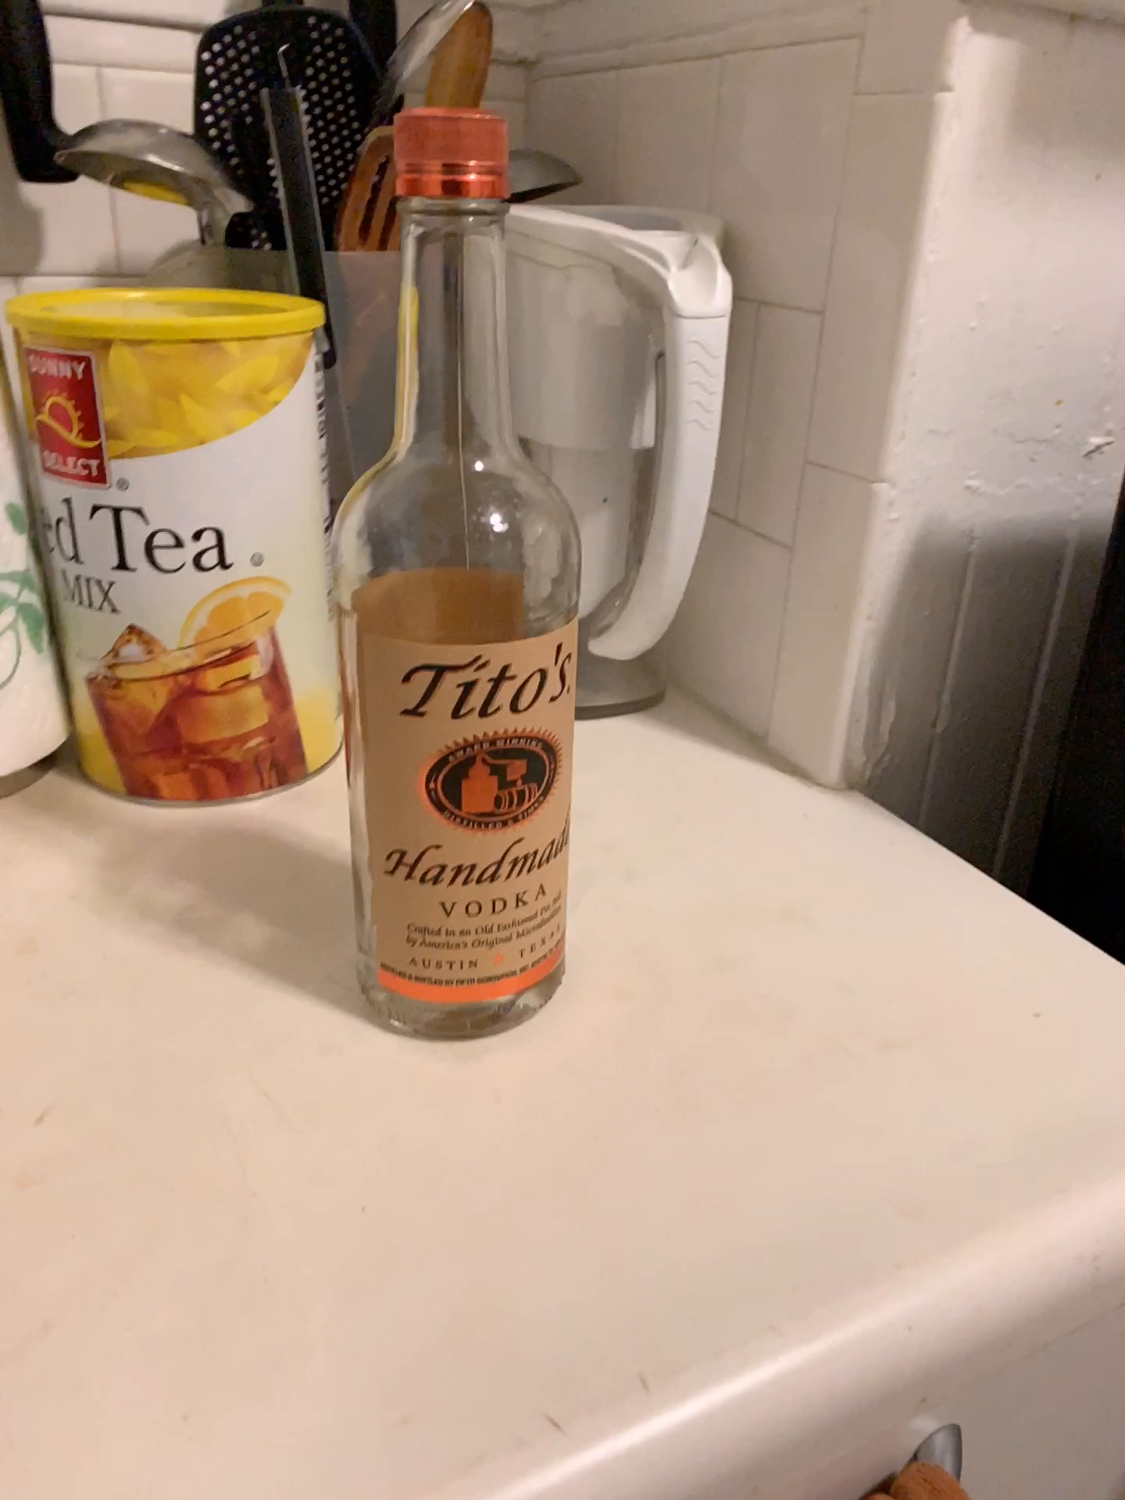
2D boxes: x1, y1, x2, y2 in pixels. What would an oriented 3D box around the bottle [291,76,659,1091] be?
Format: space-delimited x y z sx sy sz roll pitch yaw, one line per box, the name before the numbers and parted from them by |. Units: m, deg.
bottle | -0.033 -0.040 0.366 0.080 0.288 0.080 2 24 -1
